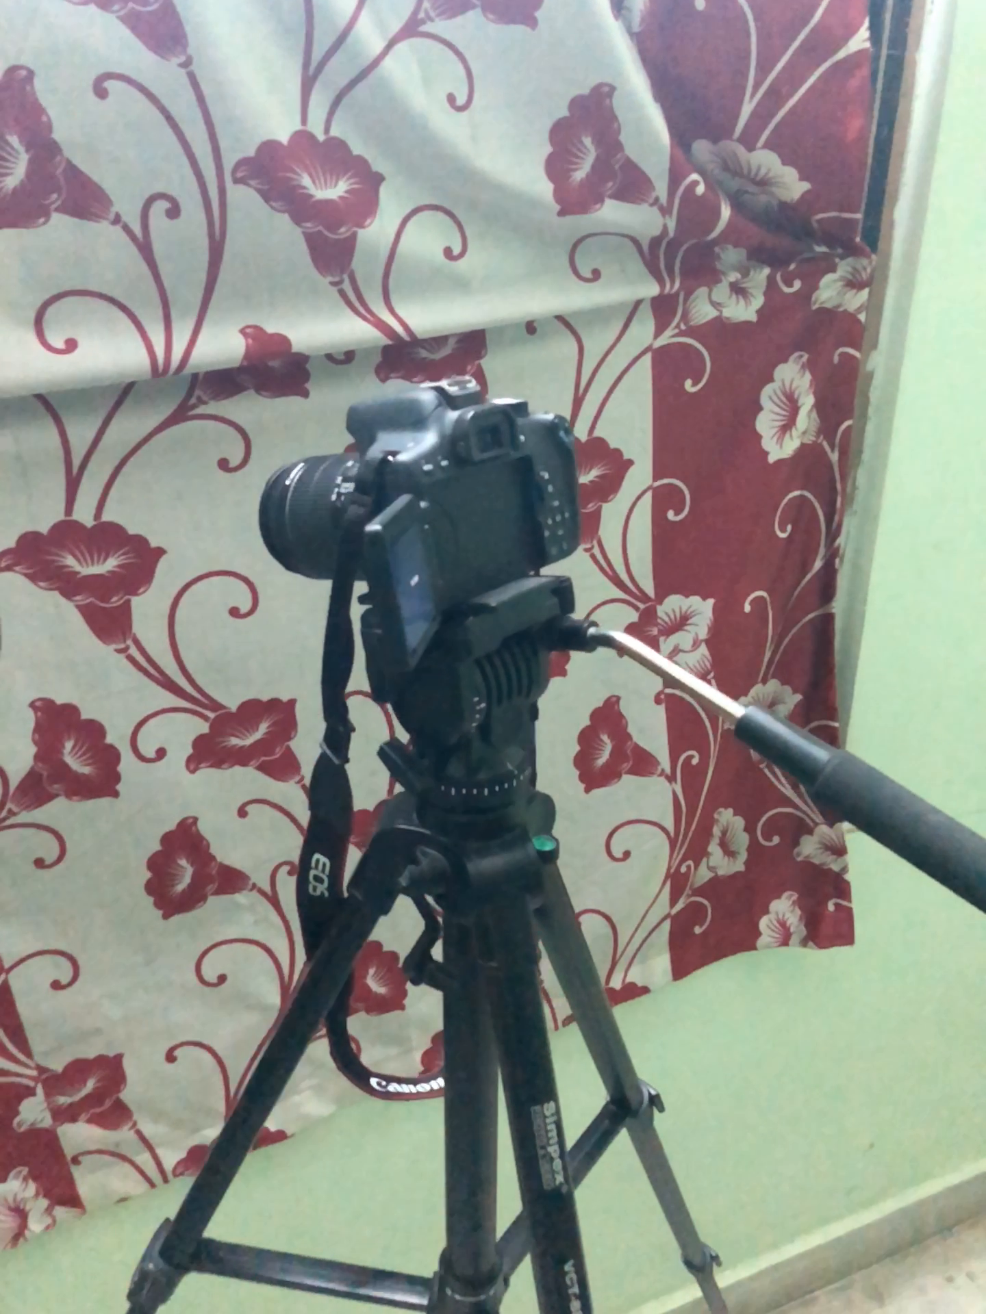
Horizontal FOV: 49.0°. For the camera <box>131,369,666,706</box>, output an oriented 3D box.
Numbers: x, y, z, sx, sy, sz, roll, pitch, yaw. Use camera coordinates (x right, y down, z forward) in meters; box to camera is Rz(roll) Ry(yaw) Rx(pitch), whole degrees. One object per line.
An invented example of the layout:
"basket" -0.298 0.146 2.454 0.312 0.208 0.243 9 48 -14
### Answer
"camera" -0.036 -0.071 0.504 0.140 0.087 0.201 19 30 36
